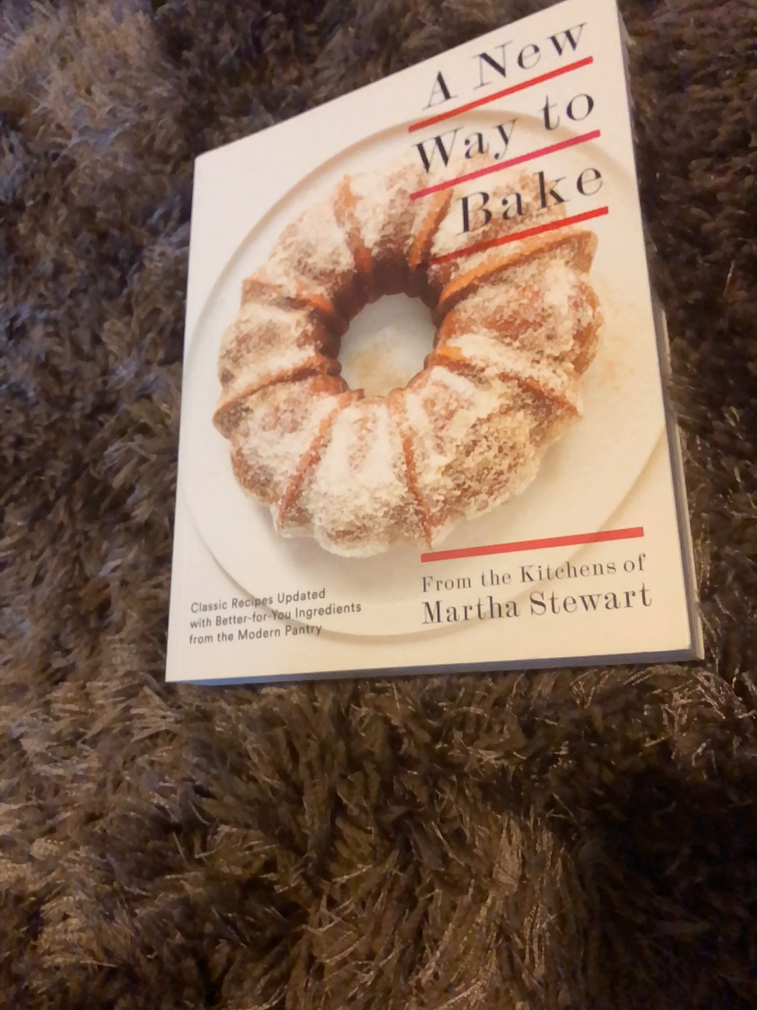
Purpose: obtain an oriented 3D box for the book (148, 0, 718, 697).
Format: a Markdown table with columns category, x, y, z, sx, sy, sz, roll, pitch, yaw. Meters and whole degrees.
| category | x | y | z | sx | sy | sz | roll | pitch | yaw |
| --- | --- | --- | --- | --- | --- | --- | --- | --- | --- |
| book | 0.007 | -0.051 | 0.318 | 0.192 | 0.040 | 0.229 | -10 | 72 | 27 |
